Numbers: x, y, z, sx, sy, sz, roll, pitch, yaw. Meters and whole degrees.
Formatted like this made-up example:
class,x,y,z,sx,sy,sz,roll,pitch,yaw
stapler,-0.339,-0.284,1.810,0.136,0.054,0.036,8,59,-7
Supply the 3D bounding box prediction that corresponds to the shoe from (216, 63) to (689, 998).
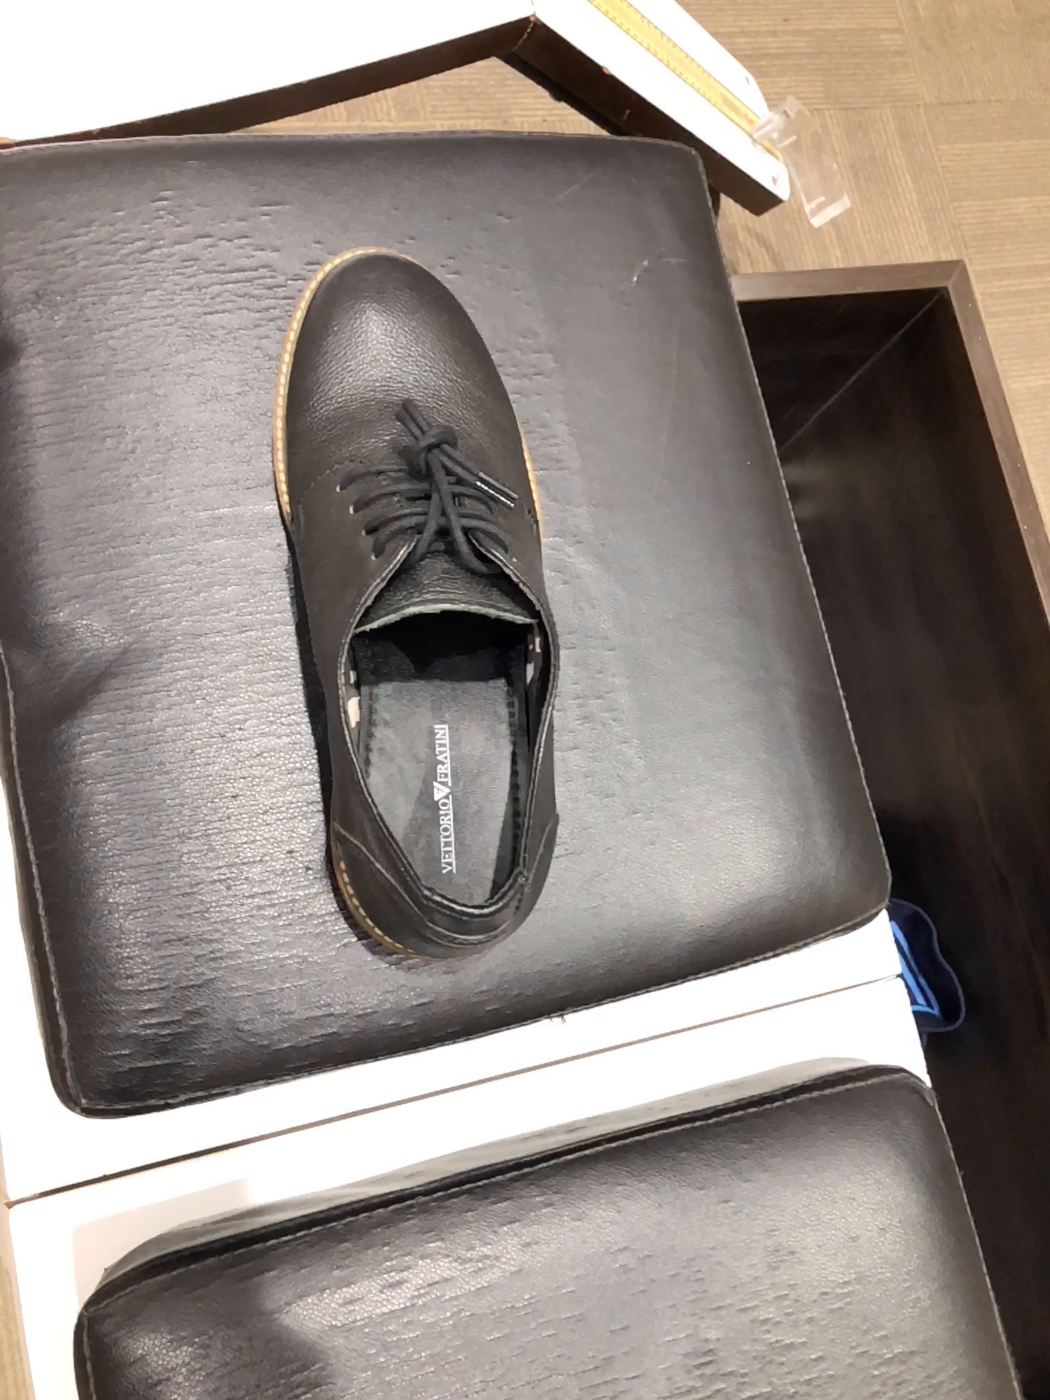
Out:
class,x,y,z,sx,sy,sz,roll,pitch,yaw
shoe,-0.036,-0.055,0.398,0.110,0.100,0.290,-5,77,-14
